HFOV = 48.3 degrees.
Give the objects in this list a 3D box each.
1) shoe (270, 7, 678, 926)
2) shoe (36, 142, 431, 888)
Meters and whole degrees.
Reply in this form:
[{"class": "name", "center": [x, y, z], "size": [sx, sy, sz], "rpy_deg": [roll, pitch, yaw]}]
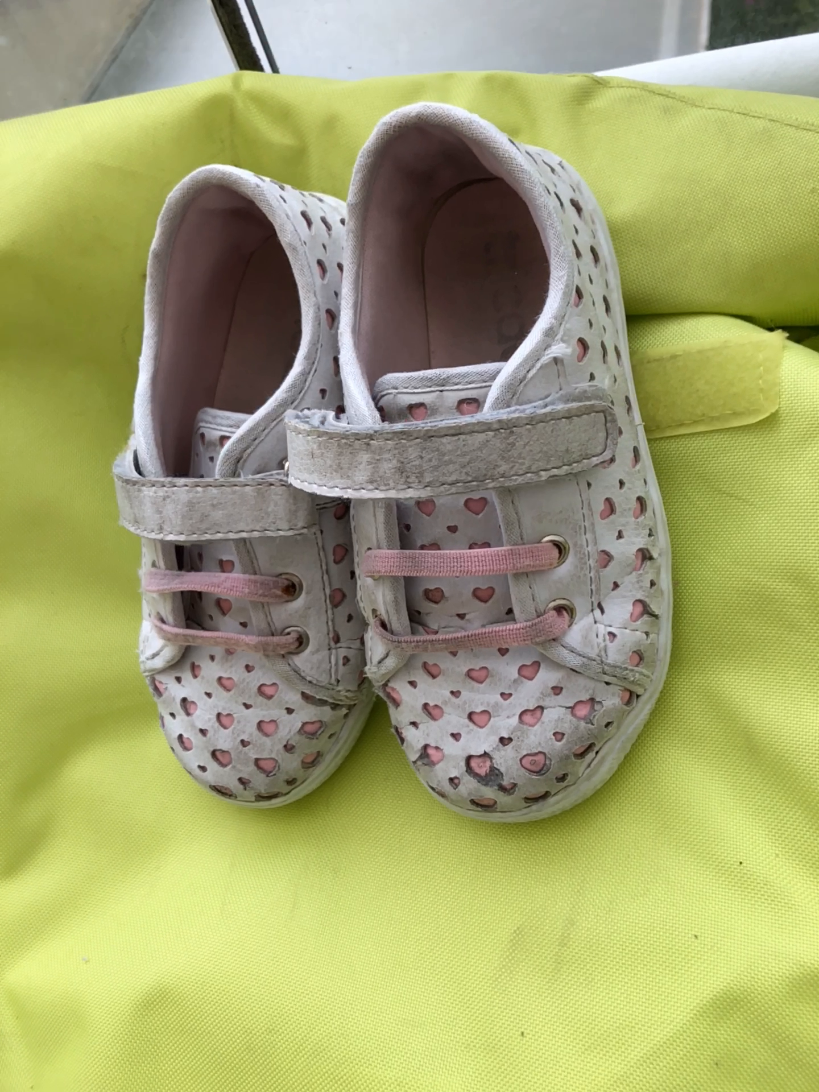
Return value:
[{"class": "shoe", "center": [0.019, -0.015, 0.215], "size": [0.080, 0.060, 0.176], "rpy_deg": [-1, 90, 17]}, {"class": "shoe", "center": [-0.049, -0.010, 0.256], "size": [0.080, 0.060, 0.175], "rpy_deg": [7, 97, 22]}]
